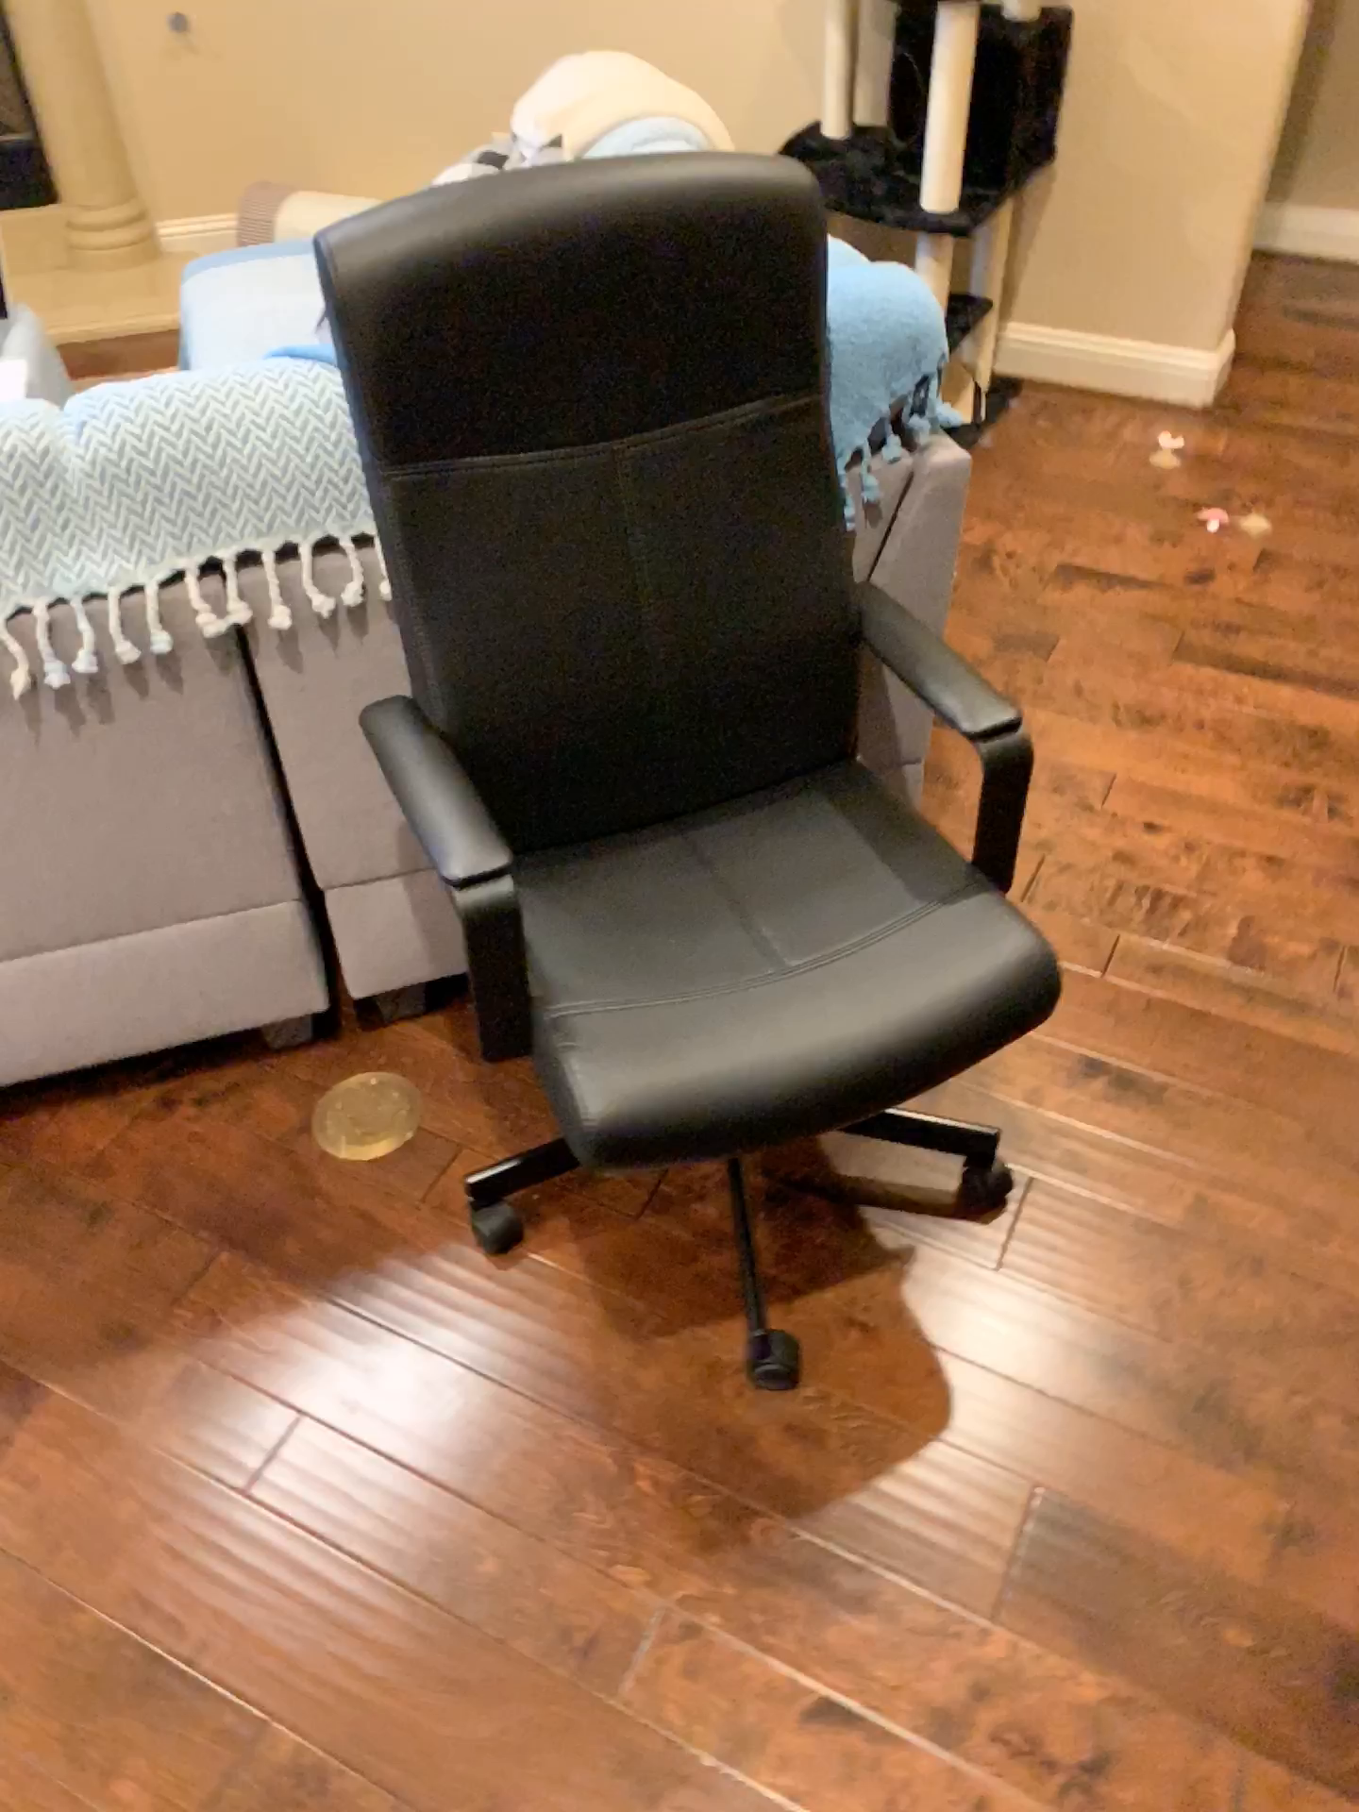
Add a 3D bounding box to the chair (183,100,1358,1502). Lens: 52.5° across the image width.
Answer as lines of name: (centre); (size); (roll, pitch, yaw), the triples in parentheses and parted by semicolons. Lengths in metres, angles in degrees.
chair: (0.047, -0.107, 1.404); (0.734, 1.037, 0.763); (-15, 45, -14)
